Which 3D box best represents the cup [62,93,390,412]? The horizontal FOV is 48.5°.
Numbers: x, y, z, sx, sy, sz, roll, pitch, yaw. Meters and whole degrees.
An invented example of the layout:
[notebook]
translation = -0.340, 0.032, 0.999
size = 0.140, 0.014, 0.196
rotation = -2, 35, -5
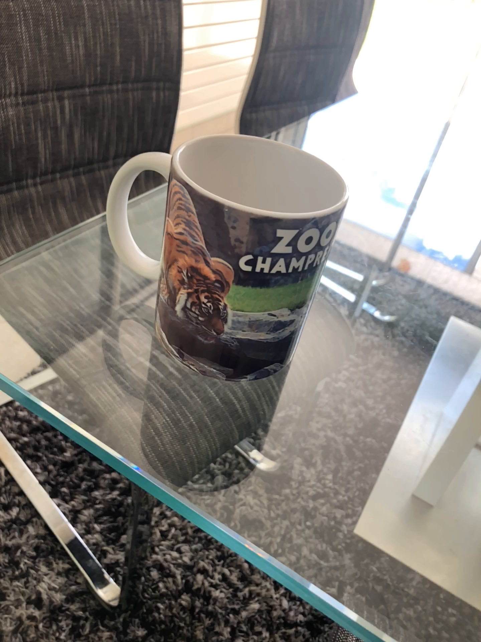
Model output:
[cup]
translation = -0.009, -0.038, 0.256
size = 0.120, 0.089, 0.081
rotation = 24, 39, 12
